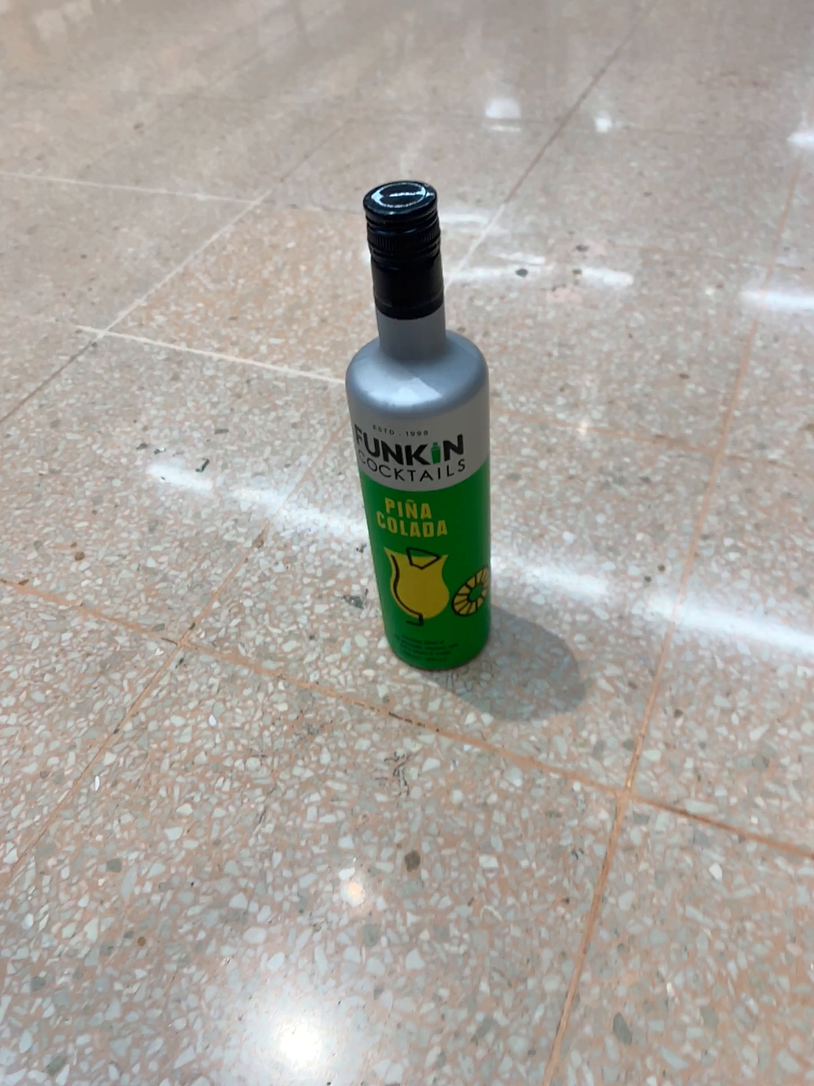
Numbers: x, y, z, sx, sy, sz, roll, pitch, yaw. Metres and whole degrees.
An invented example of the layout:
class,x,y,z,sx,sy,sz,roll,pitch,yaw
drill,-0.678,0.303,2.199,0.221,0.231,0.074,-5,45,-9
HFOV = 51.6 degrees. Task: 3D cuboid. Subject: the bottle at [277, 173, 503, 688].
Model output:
class,x,y,z,sx,sy,sz,roll,pitch,yaw
bottle,0.006,-0.039,0.452,0.073,0.284,0.067,-3,46,4
